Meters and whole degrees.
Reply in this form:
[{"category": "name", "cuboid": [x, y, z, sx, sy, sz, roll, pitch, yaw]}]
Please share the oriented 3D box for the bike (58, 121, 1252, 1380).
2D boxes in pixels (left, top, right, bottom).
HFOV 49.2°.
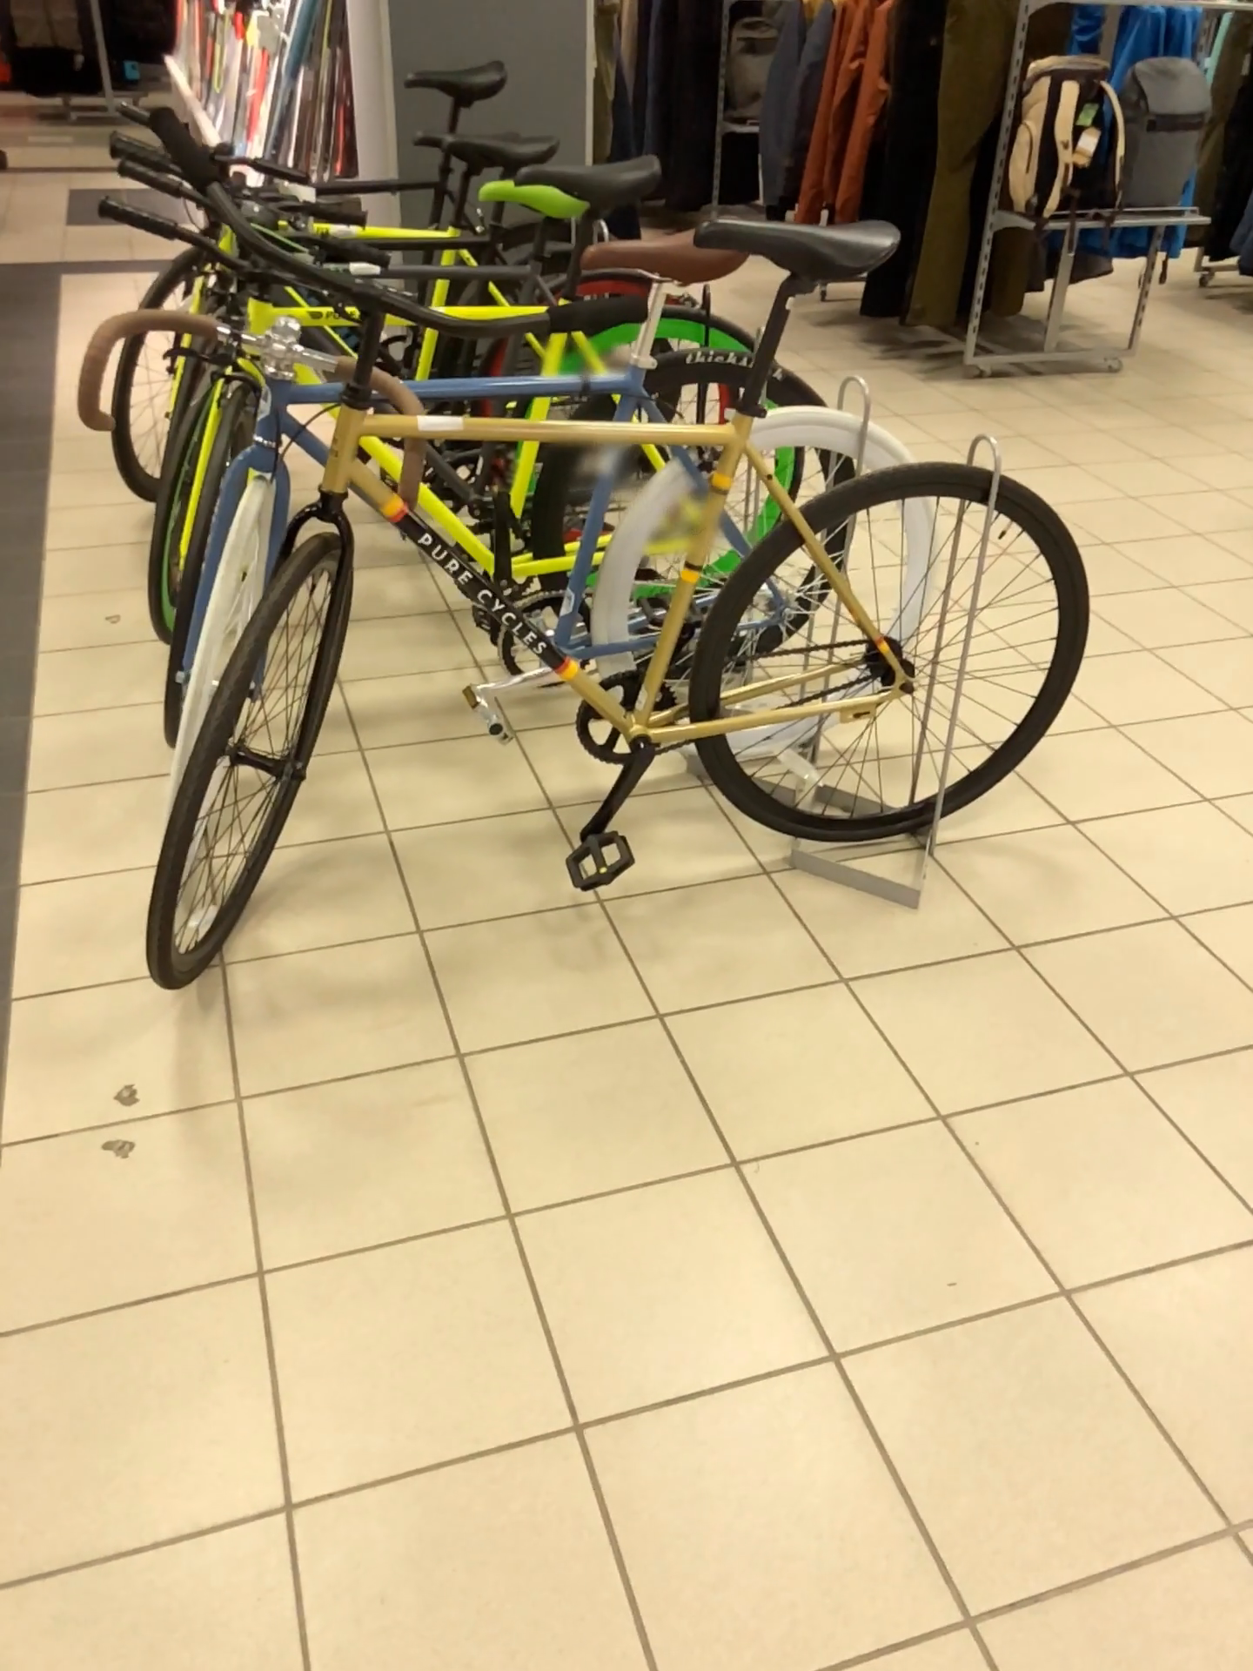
[{"category": "bike", "cuboid": [0.054, -0.228, 1.917, 1.465, 1.091, 0.675, -18, 37, -21]}]
